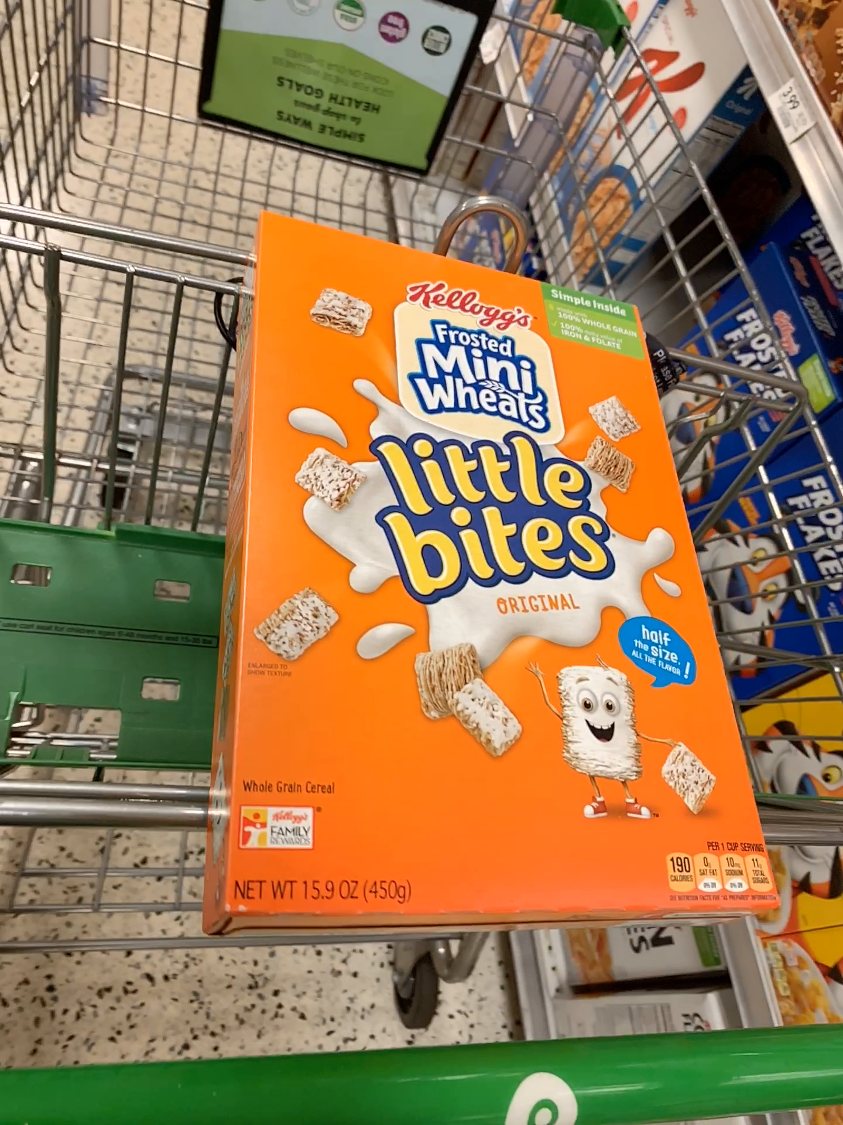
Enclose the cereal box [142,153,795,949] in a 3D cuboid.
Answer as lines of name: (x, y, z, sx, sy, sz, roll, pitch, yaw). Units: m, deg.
cereal box: (0.010, -0.018, 0.369, 0.211, 0.060, 0.322, 7, 58, -19)
